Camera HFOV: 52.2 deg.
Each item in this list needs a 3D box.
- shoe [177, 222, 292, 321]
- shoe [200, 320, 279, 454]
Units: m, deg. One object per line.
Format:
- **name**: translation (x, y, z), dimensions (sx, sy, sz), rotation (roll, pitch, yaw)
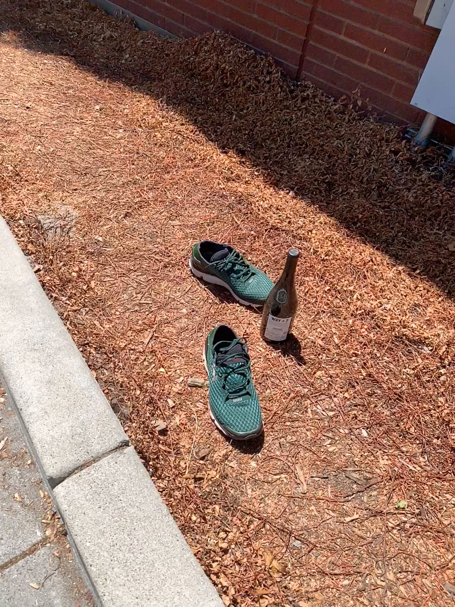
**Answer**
- **shoe**: translation (0.014, -0.096, 1.313), dimensions (0.301, 0.100, 0.120), rotation (33, 52, 18)
- **shoe**: translation (0.018, 0.187, 1.095), dimensions (0.120, 0.100, 0.291), rotation (-3, 50, -12)
